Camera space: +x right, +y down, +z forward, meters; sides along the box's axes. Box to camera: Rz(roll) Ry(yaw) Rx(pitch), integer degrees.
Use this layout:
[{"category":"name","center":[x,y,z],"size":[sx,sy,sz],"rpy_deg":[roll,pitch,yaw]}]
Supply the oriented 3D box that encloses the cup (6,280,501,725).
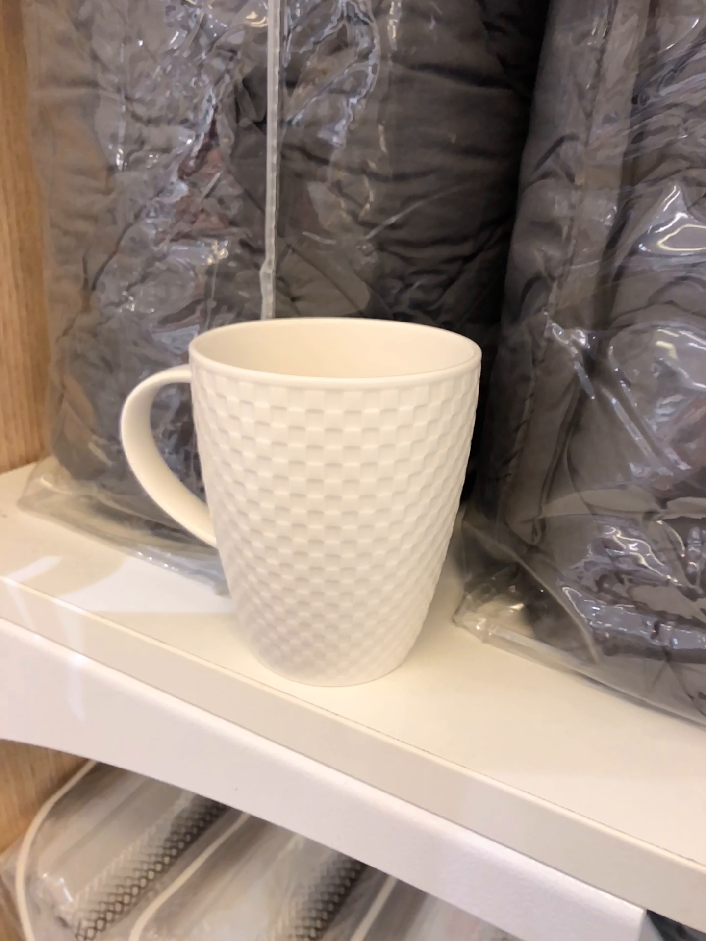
[{"category":"cup","center":[-0.019,0.001,0.225],"size":[0.110,0.089,0.081],"rpy_deg":[6,22,10]}]
